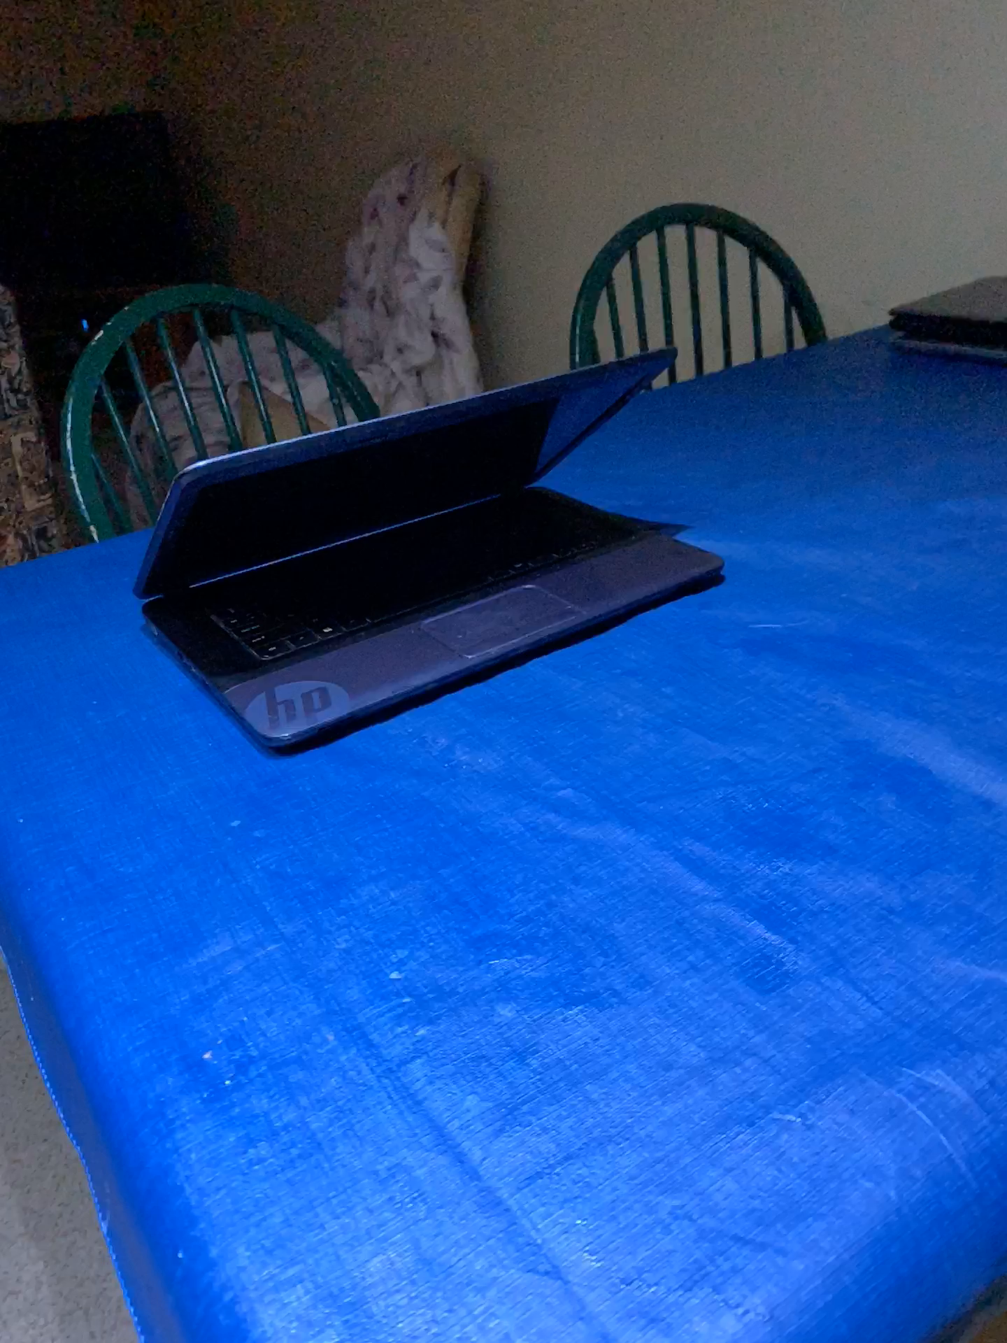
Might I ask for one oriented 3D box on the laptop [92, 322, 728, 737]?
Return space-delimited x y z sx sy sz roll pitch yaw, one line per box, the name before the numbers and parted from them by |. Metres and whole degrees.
laptop | -0.060 -0.129 0.739 0.364 0.141 0.240 -22 33 -28
